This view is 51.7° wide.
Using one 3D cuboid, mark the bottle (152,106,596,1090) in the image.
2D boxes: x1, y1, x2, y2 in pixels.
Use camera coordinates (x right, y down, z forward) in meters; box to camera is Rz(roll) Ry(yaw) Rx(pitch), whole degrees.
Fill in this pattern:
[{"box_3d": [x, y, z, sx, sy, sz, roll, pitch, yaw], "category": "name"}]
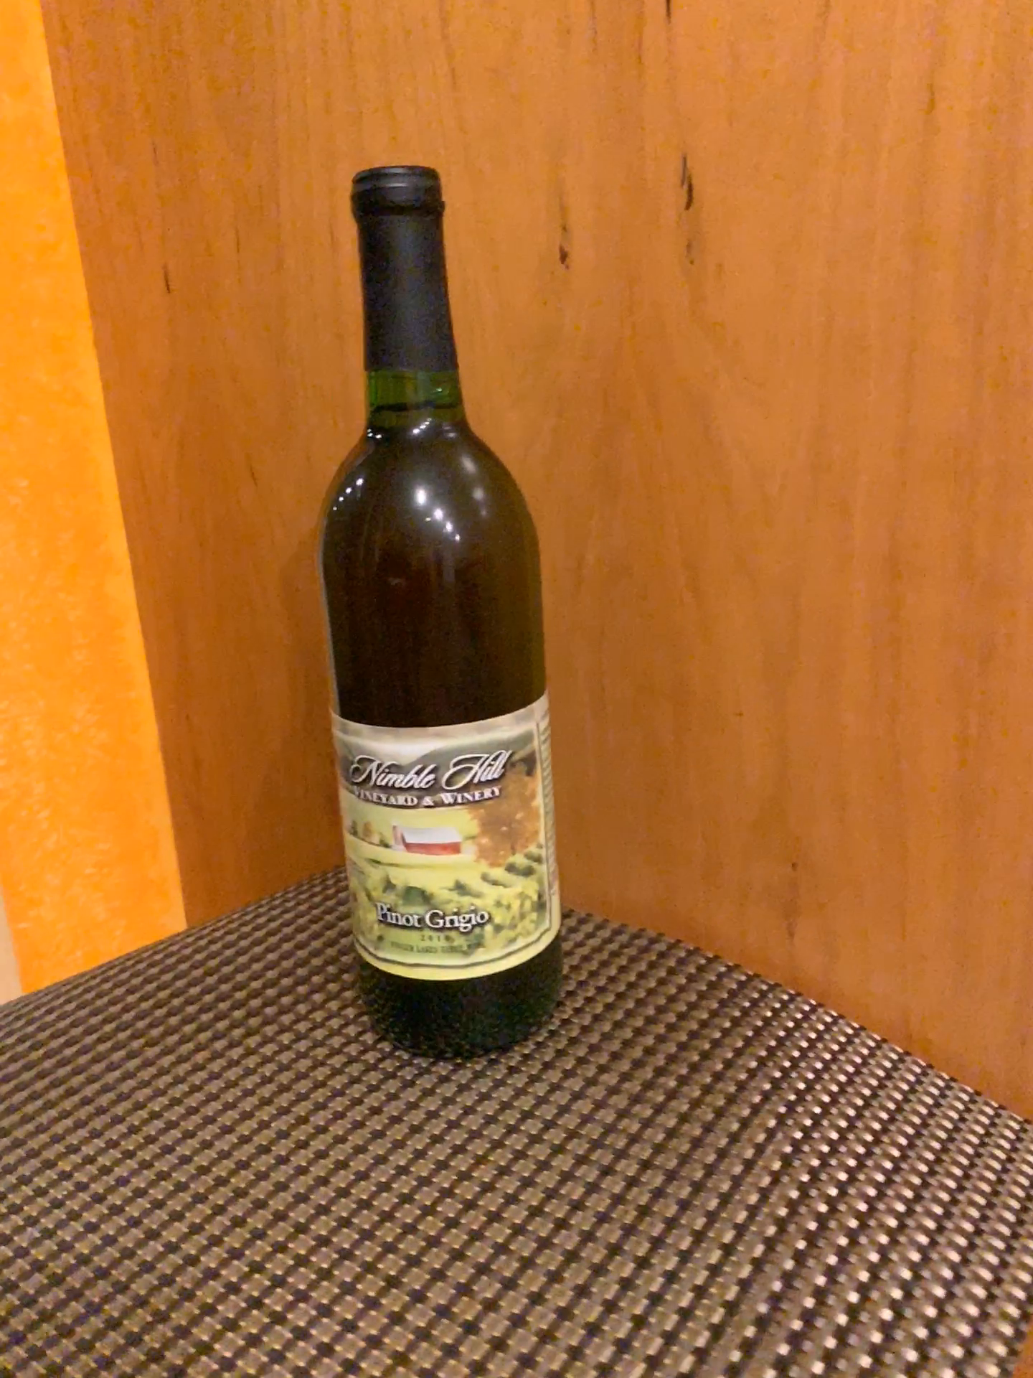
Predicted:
[{"box_3d": [-0.033, -0.021, 0.339, 0.090, 0.269, 0.080, 3, 17, 20], "category": "bottle"}]
